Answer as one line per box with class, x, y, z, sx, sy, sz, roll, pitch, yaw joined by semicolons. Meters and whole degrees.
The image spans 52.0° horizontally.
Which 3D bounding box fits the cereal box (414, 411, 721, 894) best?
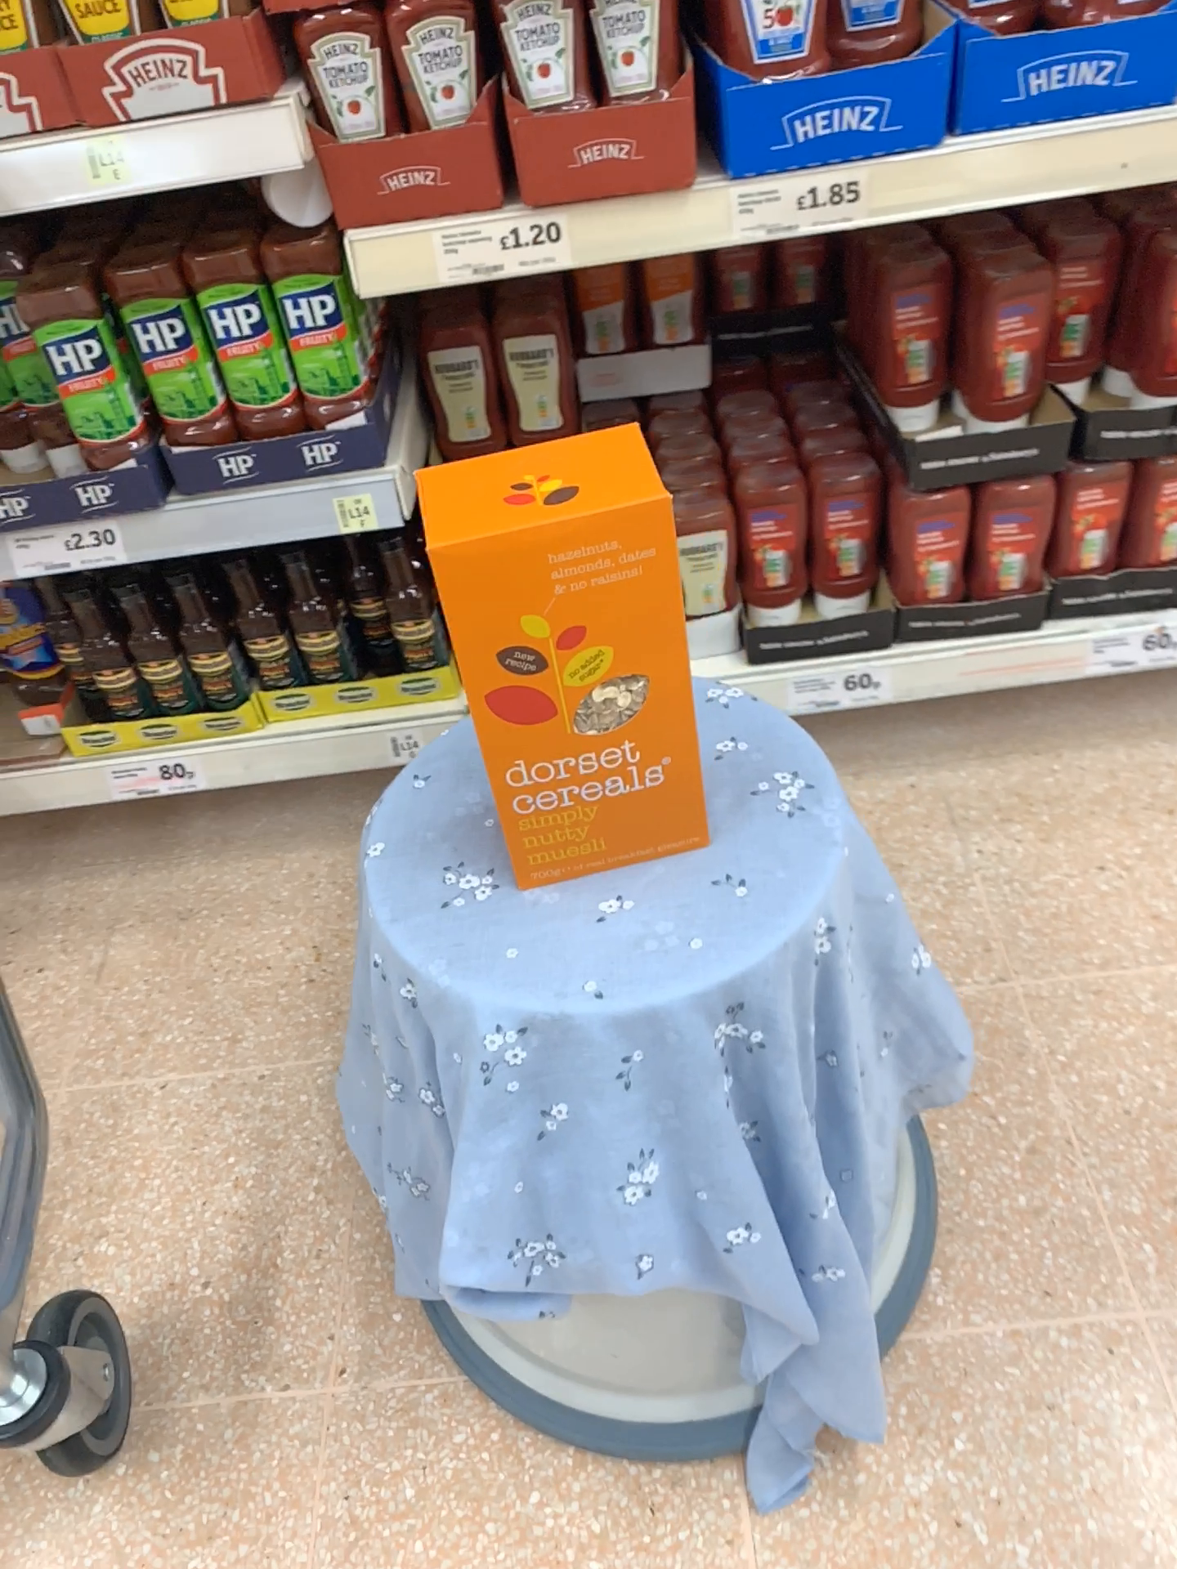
cereal box;-0.005;-0.064;0.654;0.120;0.228;0.091;-13;42;-3
